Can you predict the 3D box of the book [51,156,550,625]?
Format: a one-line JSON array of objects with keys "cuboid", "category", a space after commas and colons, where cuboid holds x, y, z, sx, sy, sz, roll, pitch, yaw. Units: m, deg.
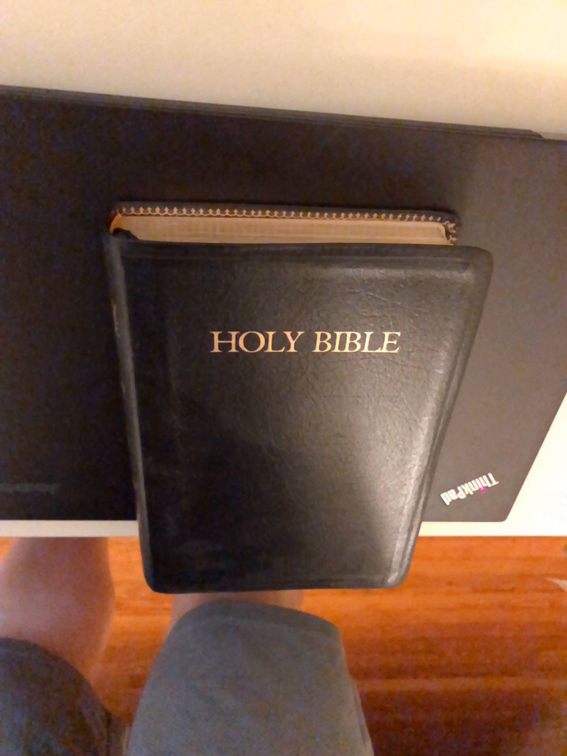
[{"cuboid": [0.000, 0.026, 0.299, 0.170, 0.040, 0.241, 0, 126, -6], "category": "book"}]
